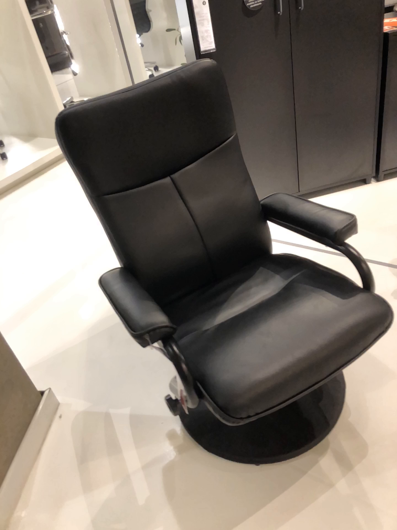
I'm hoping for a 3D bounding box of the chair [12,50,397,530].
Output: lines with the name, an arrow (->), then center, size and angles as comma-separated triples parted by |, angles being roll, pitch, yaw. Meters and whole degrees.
chair -> 0.083, 0.045, 1.236 | 0.691, 0.992, 0.735 | -26, 38, -18
